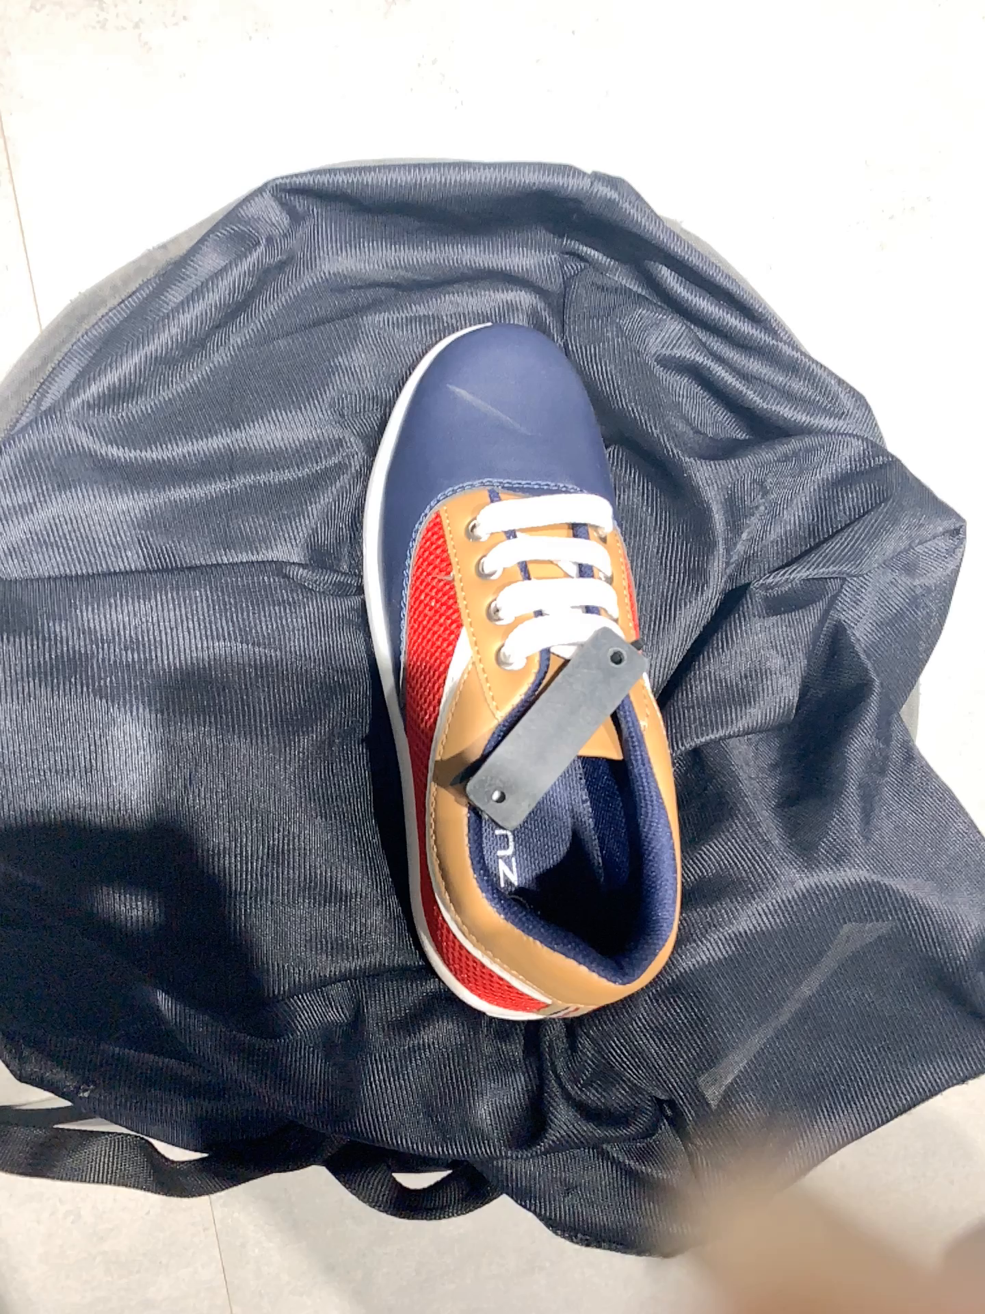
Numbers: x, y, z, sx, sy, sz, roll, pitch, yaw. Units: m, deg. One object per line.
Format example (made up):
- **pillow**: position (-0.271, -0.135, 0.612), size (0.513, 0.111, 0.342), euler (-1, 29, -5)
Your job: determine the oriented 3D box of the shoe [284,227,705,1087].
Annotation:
- **shoe**: position (-0.006, -0.003, 0.259), size (0.080, 0.070, 0.190), euler (-3, 81, -7)
